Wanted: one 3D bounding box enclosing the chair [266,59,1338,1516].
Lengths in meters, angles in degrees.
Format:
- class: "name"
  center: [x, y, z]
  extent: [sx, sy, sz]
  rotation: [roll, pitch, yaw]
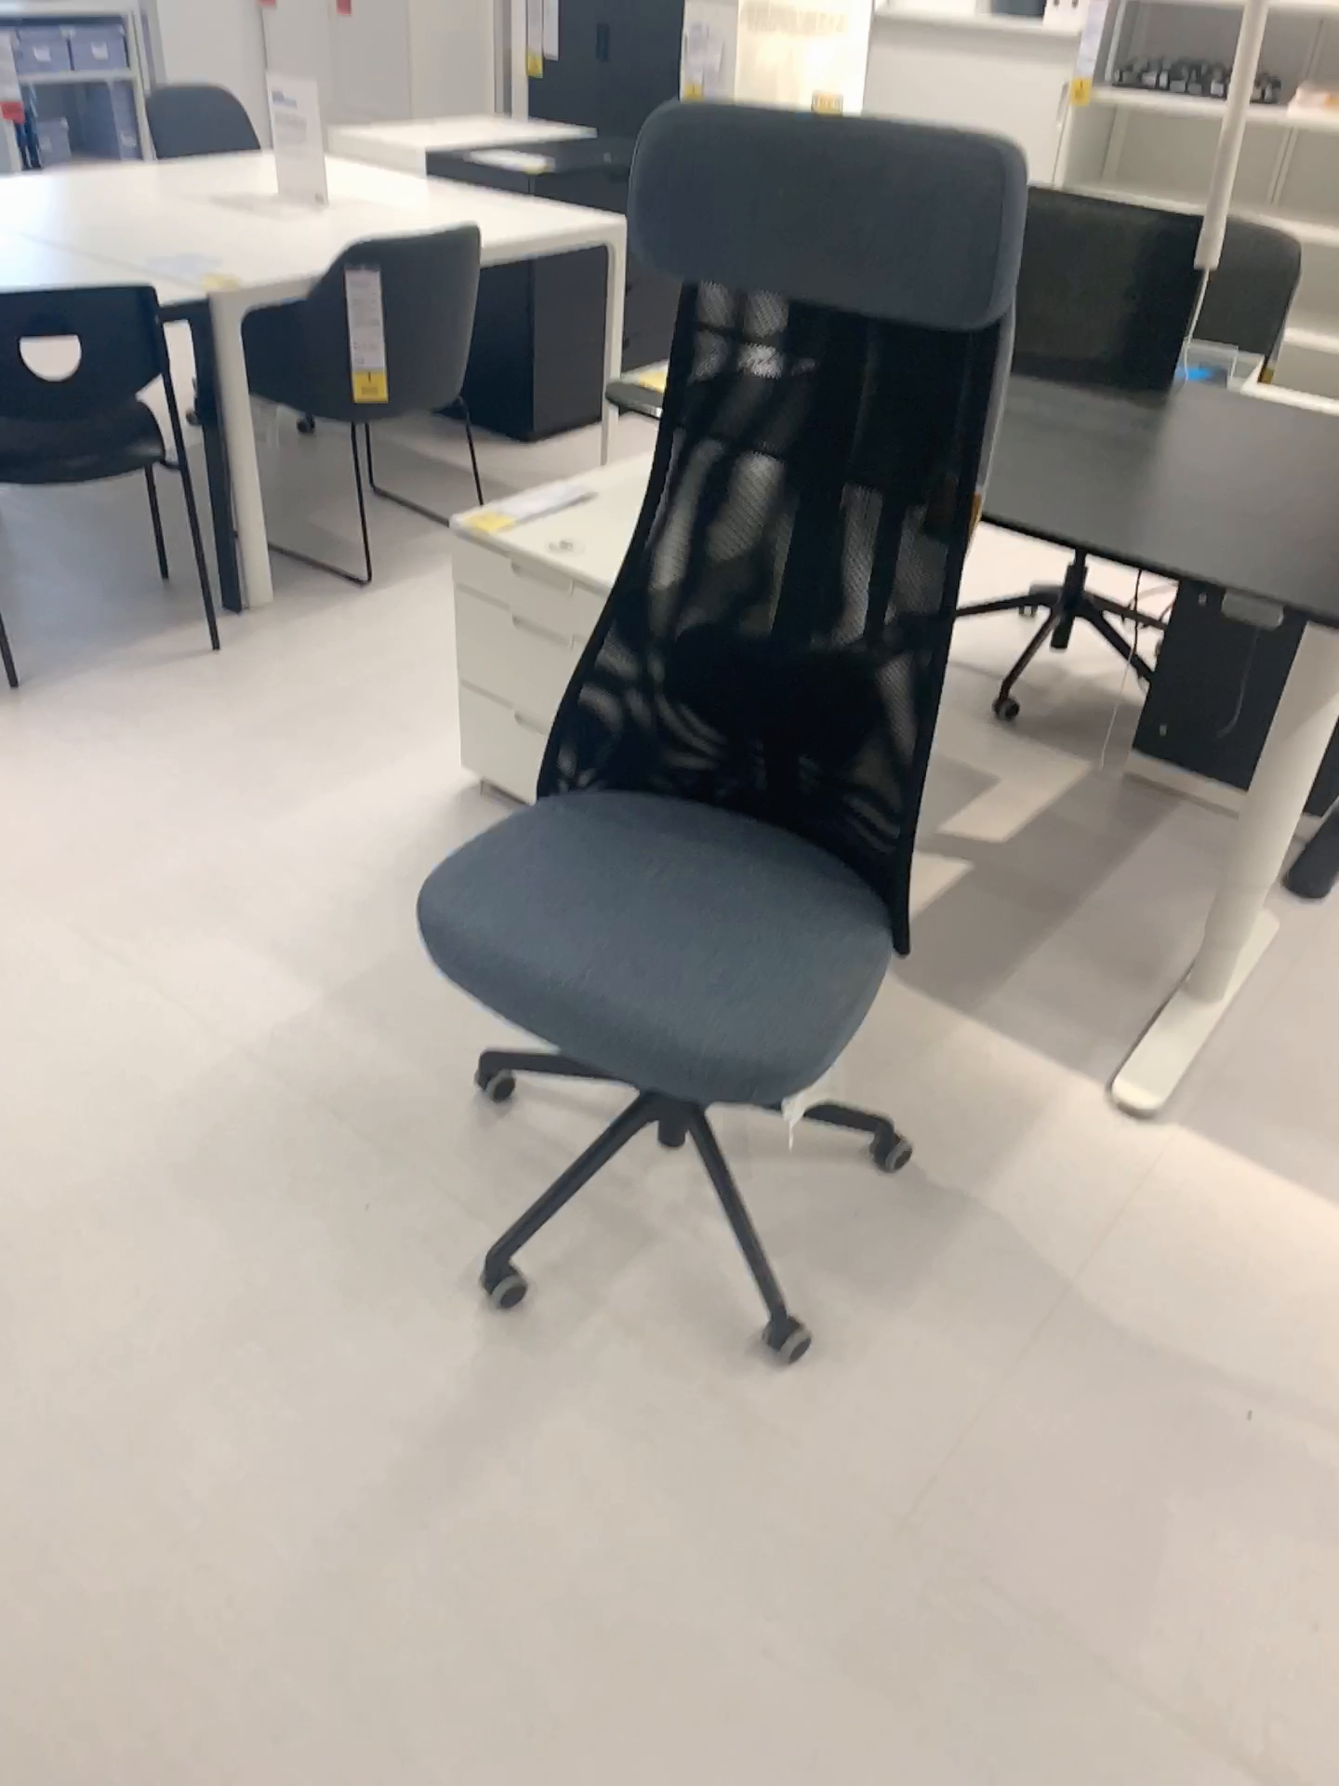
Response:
- class: "chair"
  center: [0.125, -0.130, 1.519]
  extent: [0.641, 1.304, 0.732]
  rotation: [24, 40, 26]
